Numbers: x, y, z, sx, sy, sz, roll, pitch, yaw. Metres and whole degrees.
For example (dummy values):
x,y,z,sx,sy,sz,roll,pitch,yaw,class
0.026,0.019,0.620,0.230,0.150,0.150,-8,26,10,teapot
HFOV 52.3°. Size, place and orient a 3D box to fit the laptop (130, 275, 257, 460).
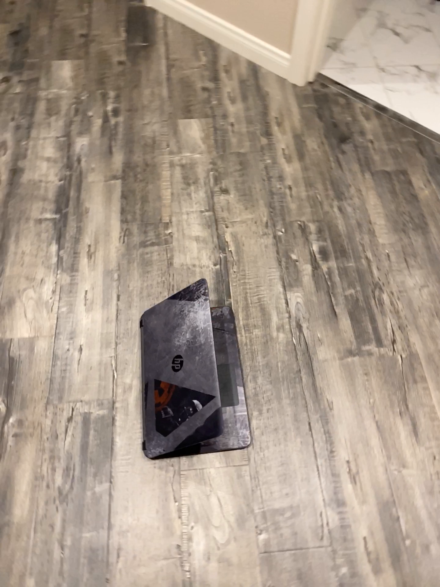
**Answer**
x,y,z,sx,sy,sz,roll,pitch,yaw,class
-0.072,0.172,1.074,0.250,0.177,0.375,-5,61,-4,laptop
